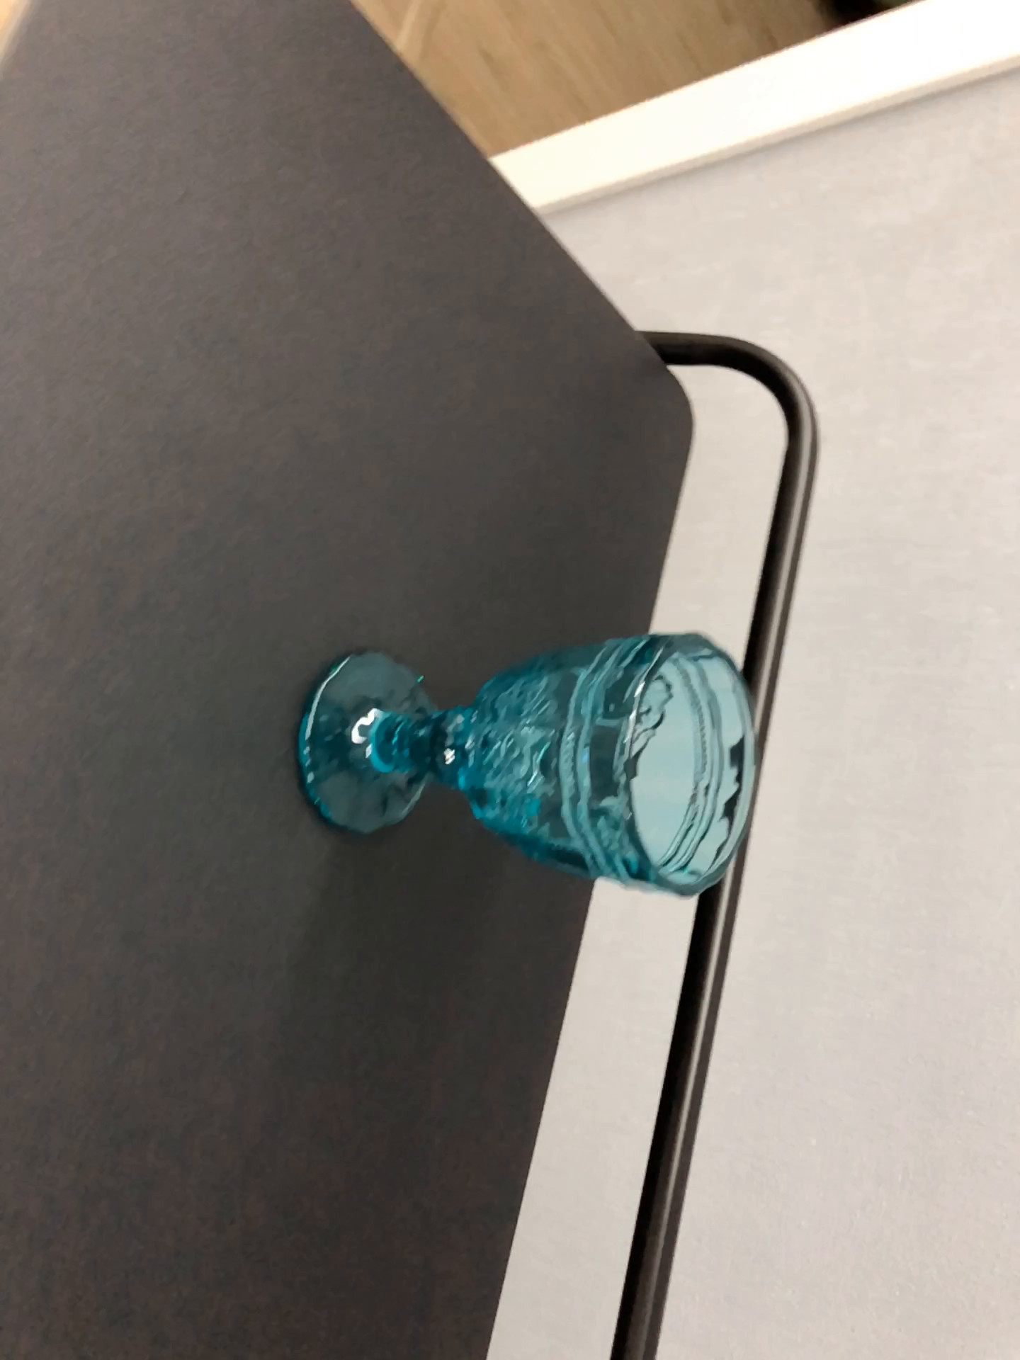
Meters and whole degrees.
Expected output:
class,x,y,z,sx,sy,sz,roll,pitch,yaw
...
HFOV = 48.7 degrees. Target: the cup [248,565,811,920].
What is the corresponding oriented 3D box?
class,x,y,z,sx,sy,sz,roll,pitch,yaw
cup,0.006,0.022,0.409,0.095,0.164,0.085,34,64,-46
